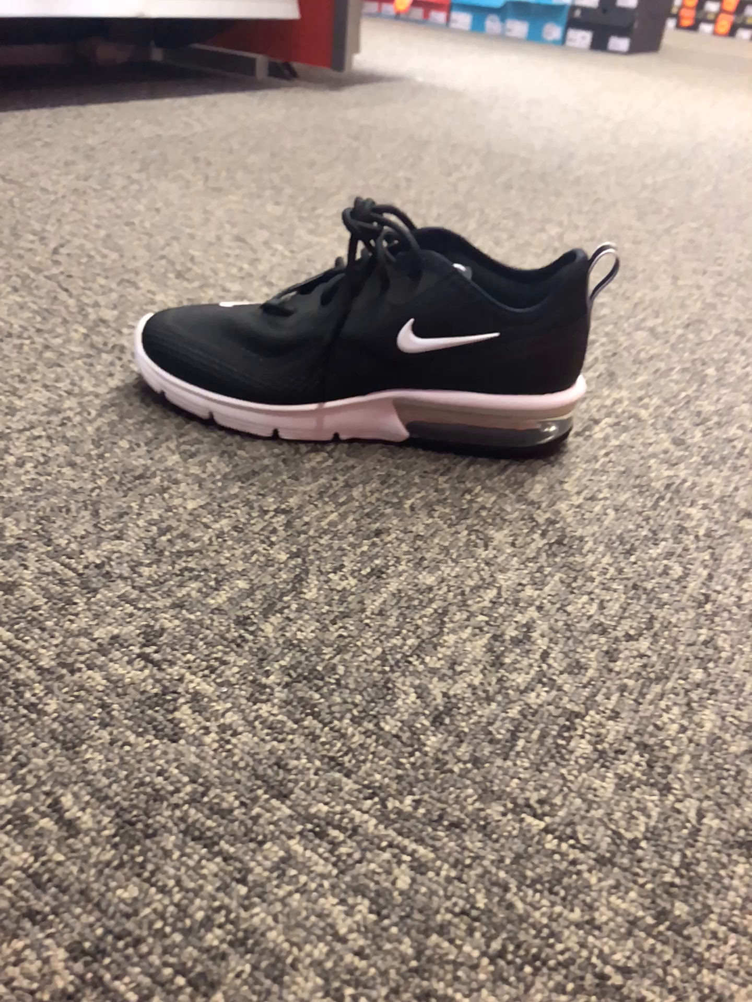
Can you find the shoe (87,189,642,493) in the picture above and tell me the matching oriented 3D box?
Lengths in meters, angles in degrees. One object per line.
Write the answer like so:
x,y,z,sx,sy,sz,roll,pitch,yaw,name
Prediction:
-0.004,-0.091,0.449,0.256,0.109,0.101,6,33,6,shoe
